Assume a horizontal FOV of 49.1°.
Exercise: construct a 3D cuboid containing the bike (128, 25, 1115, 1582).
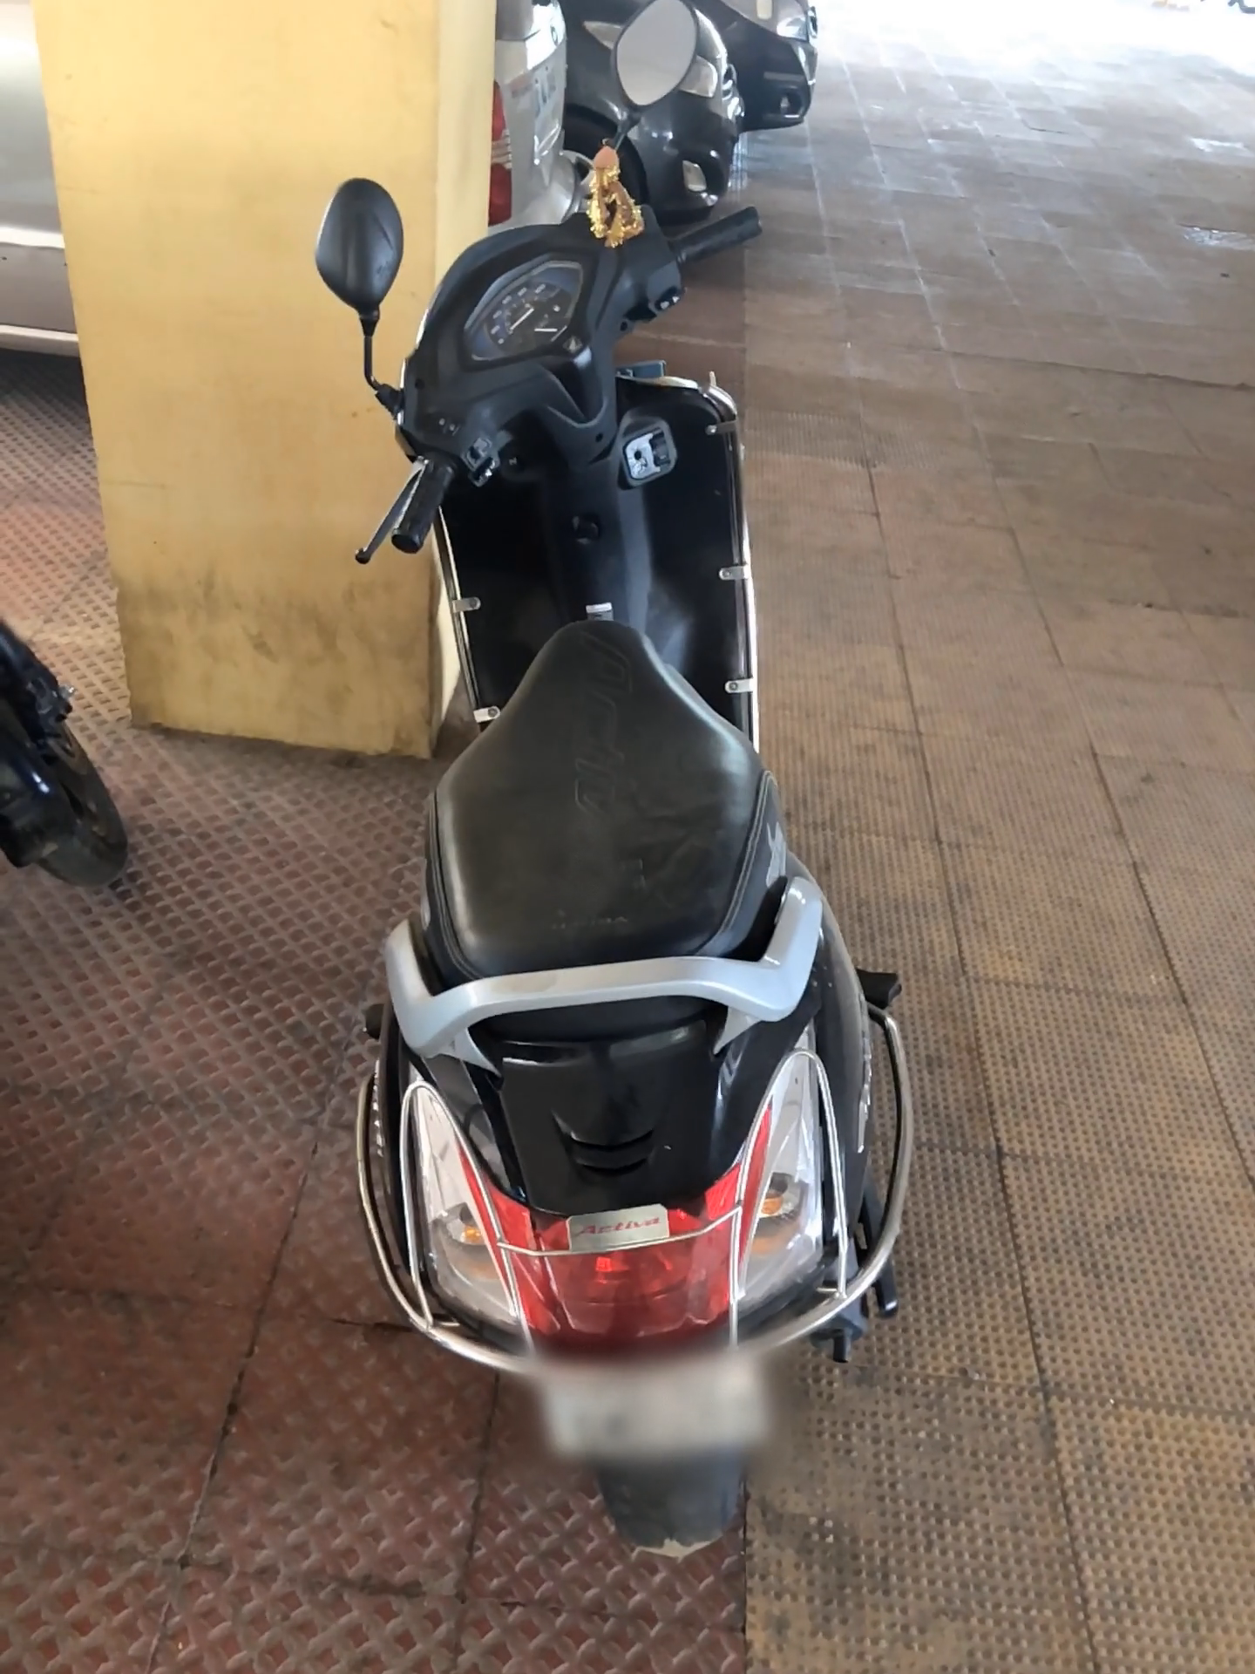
[{"bbox_3d":[-0.178,-0.134,1.713,0.608,1.172,1.448,-2,41,-12],"label":"bike"}]
